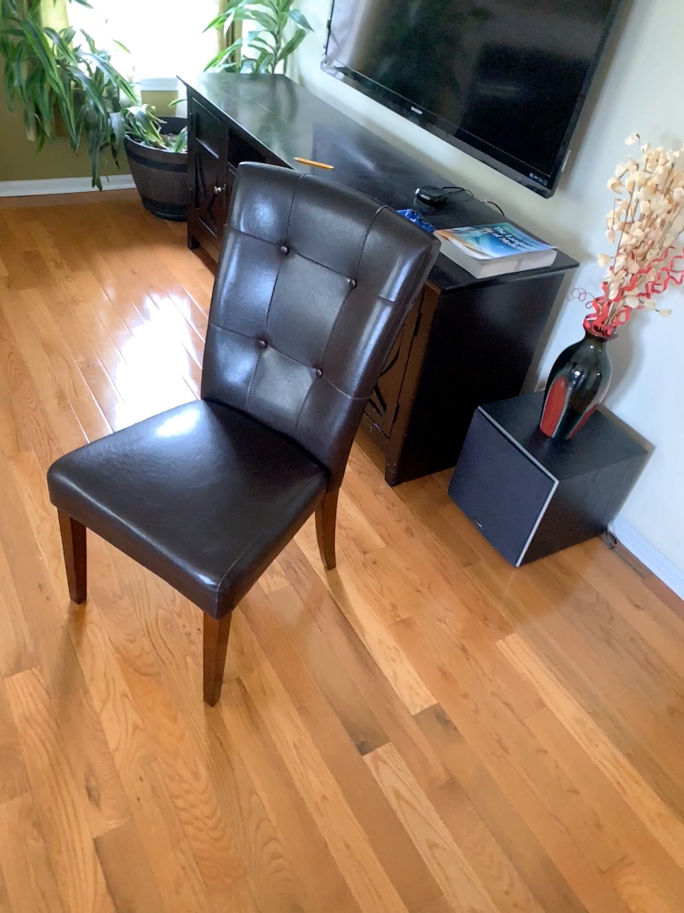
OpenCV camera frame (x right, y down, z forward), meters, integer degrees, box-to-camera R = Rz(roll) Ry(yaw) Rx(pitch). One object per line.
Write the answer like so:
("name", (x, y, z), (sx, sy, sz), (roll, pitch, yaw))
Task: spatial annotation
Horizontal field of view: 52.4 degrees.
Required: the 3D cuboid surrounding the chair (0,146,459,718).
("chair", (-0.230, -0.062, 1.576), (0.498, 0.968, 0.707), (29, 43, 20))
